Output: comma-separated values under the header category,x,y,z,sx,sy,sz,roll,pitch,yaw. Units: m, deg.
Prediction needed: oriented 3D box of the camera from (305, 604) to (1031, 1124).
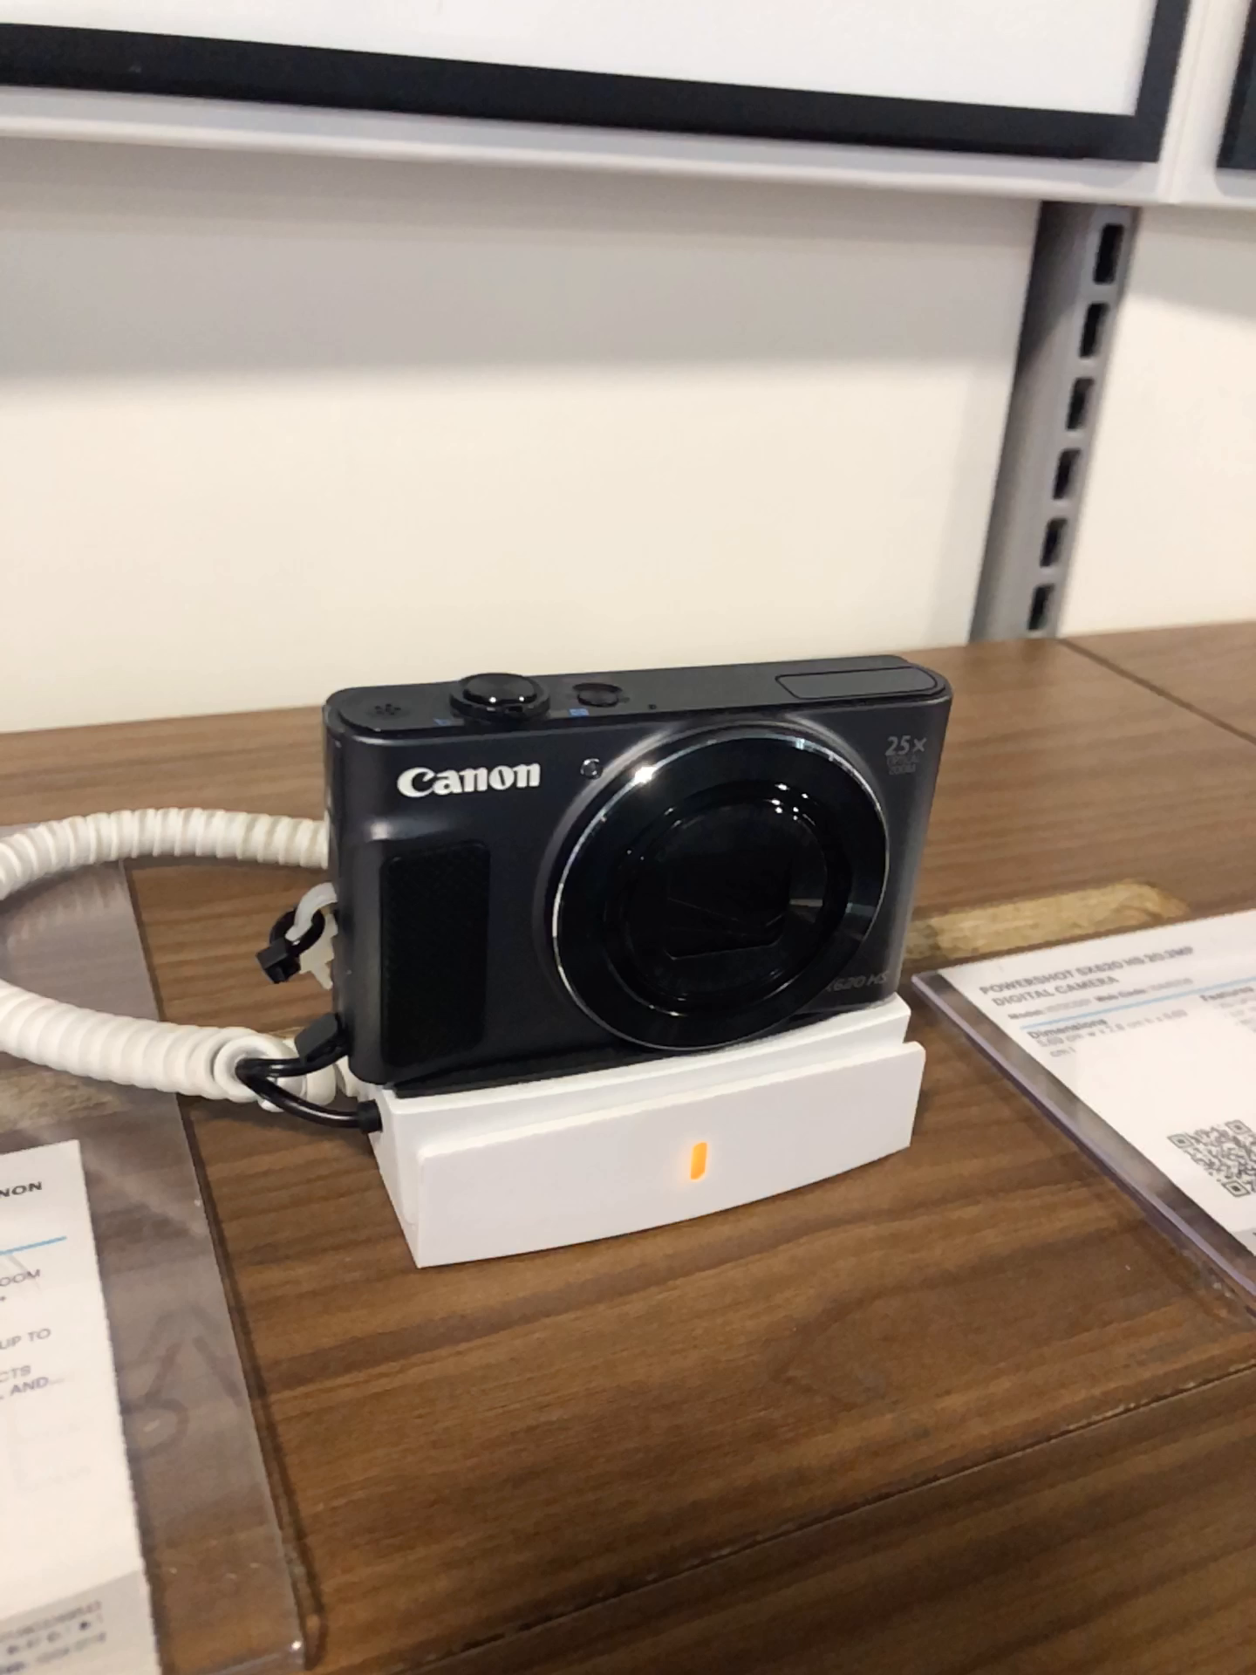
category,x,y,z,sx,sy,sz,roll,pitch,yaw
camera,0.006,0.001,0.211,0.100,0.060,0.030,-7,26,-22
